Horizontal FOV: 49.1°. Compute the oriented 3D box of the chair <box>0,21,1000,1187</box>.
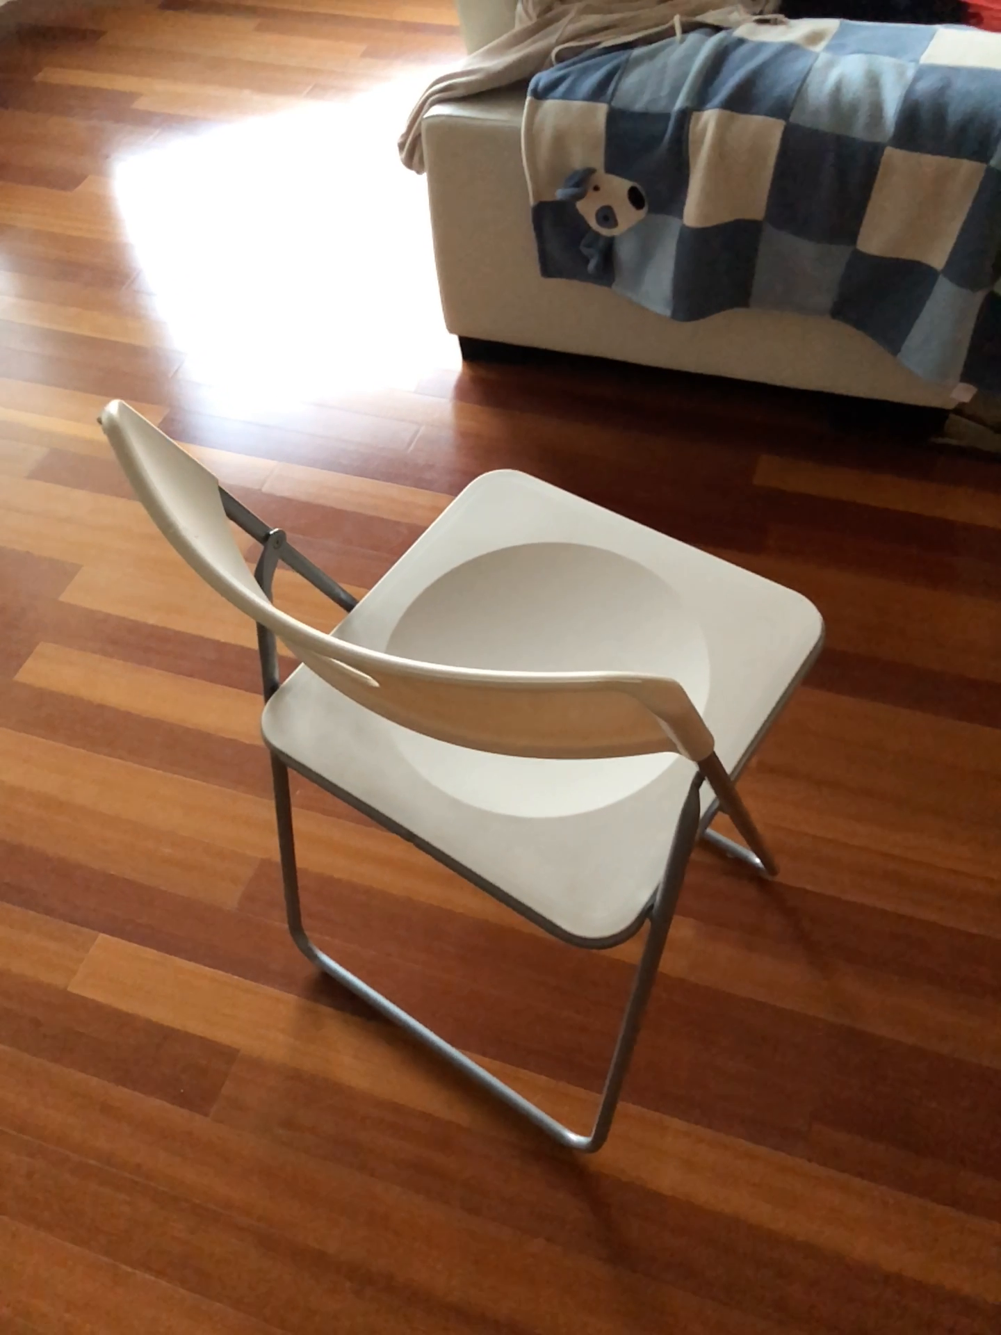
[{"bbox_3d":[0.068,-0.048,0.857,0.461,0.577,0.542,28,59,23],"label":"chair"}]
